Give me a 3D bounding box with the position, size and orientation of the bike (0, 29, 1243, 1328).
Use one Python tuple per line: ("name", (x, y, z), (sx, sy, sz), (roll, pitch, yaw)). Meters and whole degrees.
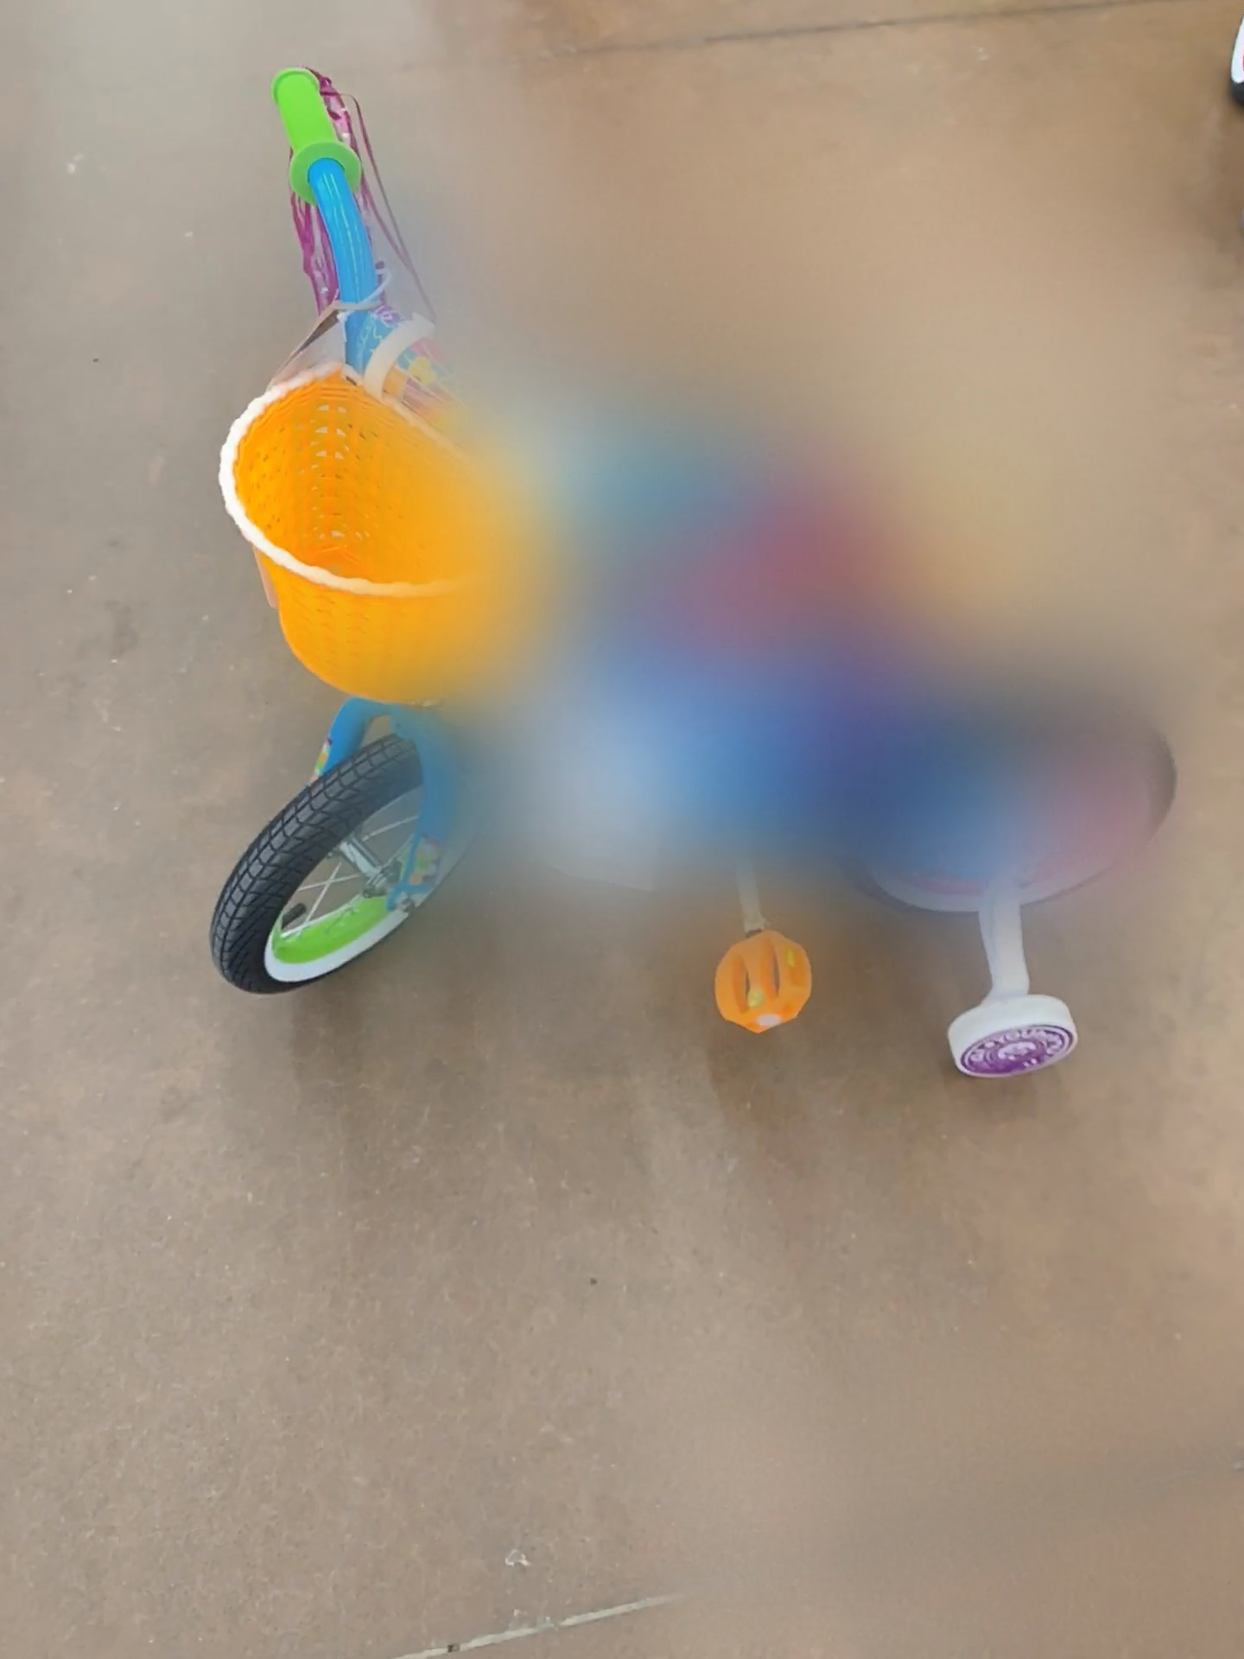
("bike", (0.076, -0.073, 0.966), (0.833, 0.667, 0.522), (-8, 53, -3))
